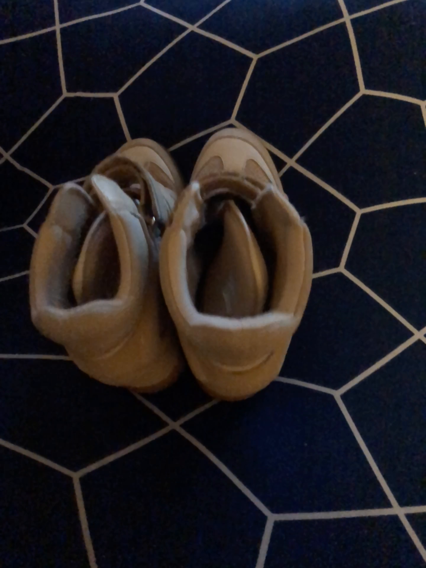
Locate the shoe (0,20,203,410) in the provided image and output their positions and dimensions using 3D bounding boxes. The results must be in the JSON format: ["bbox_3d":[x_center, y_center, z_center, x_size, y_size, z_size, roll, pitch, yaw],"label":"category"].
[{"bbox_3d":[-0.069,-0.056,0.359,0.100,0.139,0.261,-5,58,4],"label":"shoe"}]

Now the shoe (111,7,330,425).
[{"bbox_3d":[0.011,-0.056,0.342,0.100,0.129,0.282,-2,58,5],"label":"shoe"}]
